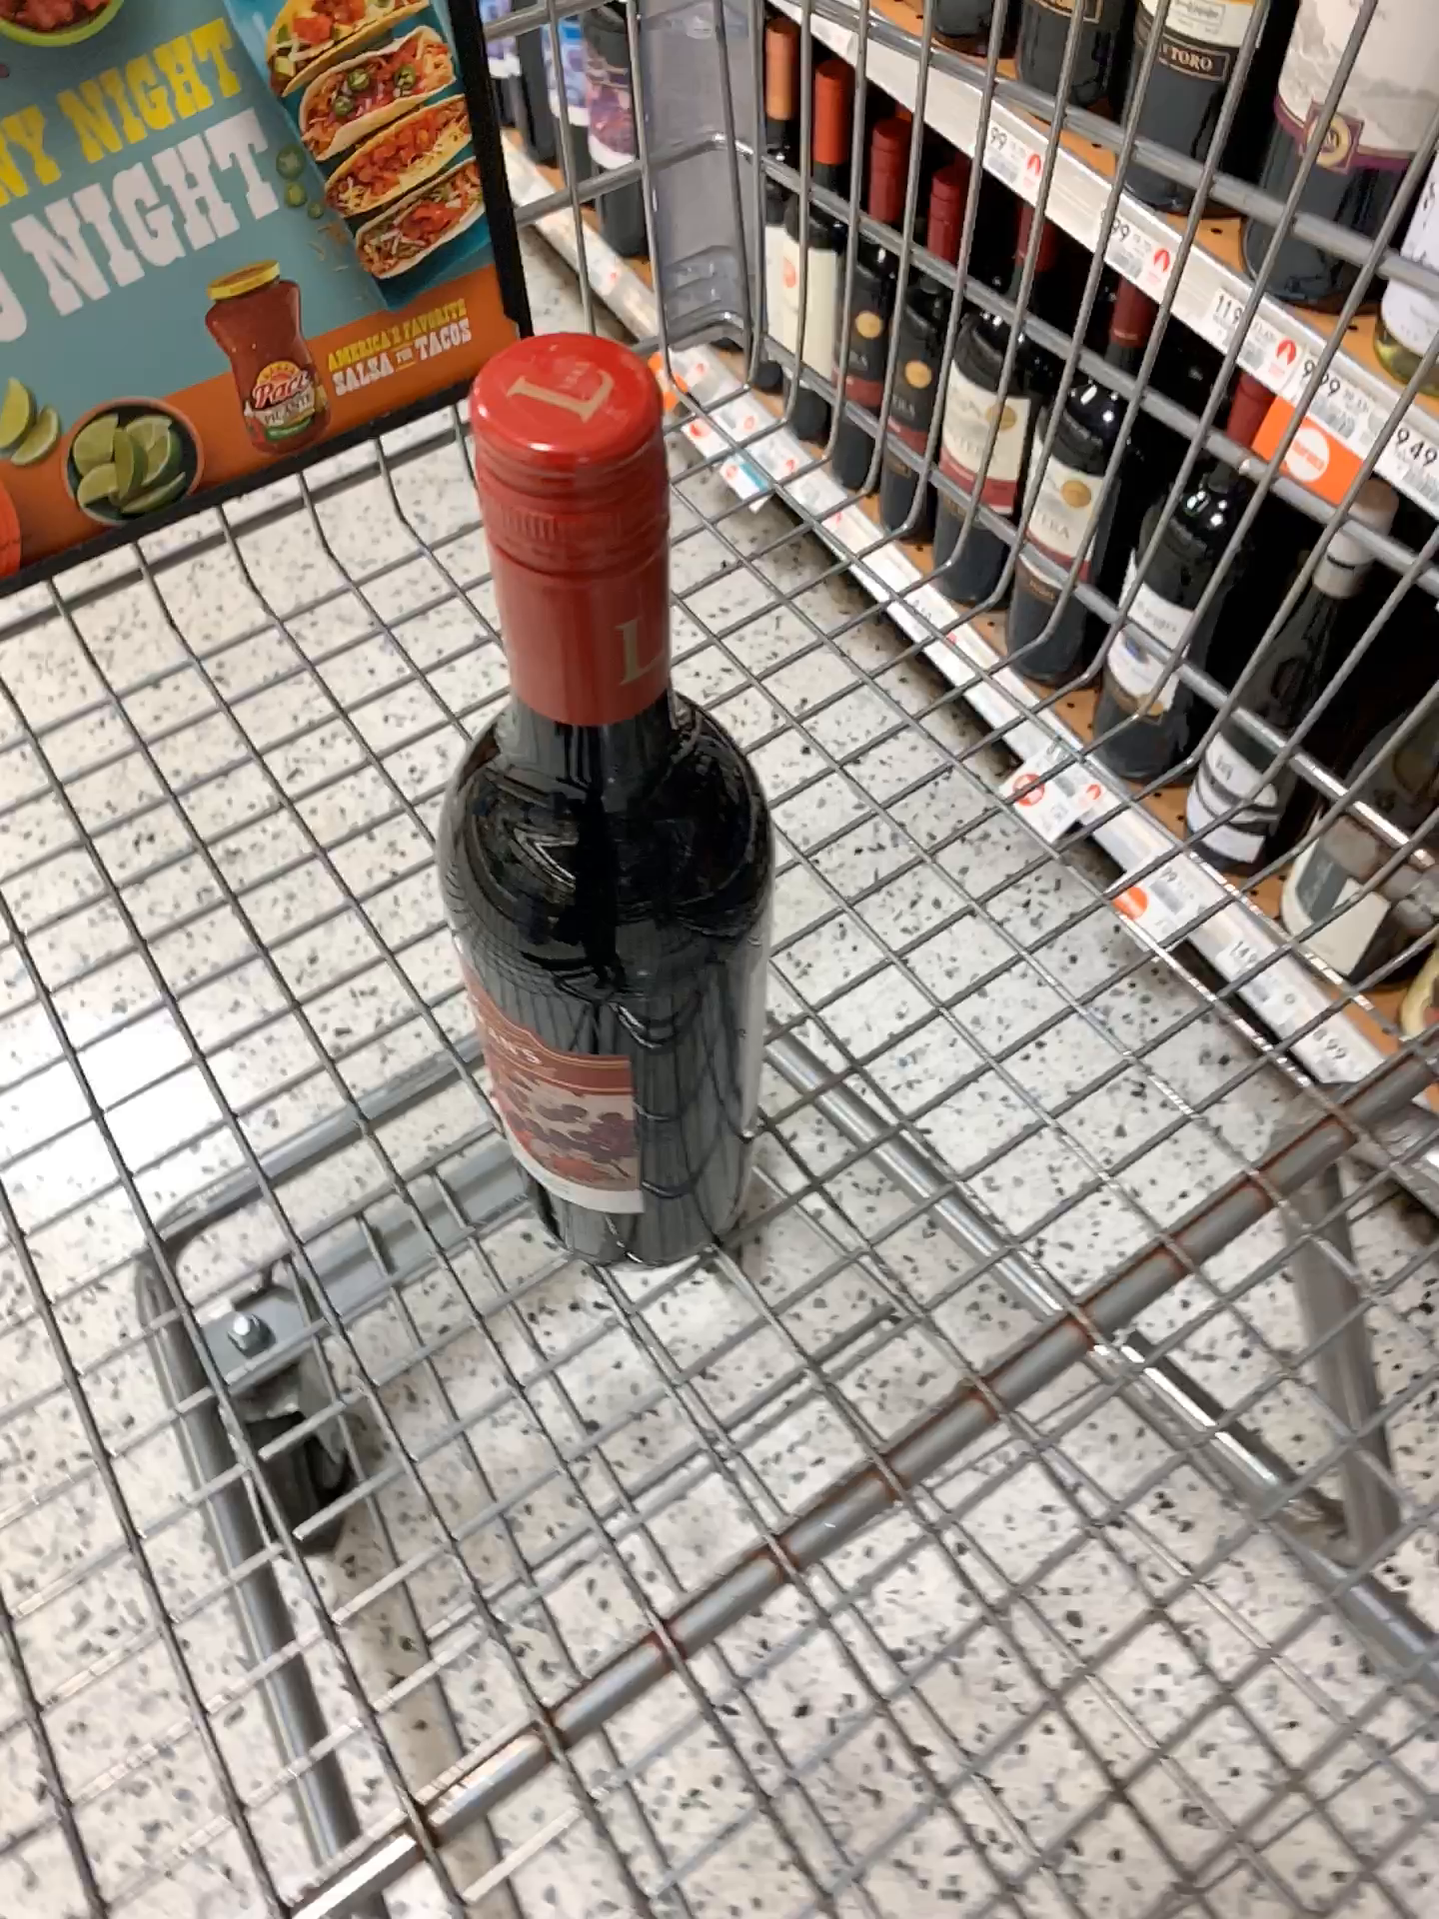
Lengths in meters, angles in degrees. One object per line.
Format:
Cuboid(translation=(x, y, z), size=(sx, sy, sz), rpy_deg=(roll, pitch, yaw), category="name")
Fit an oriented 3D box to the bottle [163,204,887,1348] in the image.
Cuboid(translation=(-0.031, -0.008, 0.351), size=(0.080, 0.288, 0.091), rpy_deg=(-27, 62, -14), category="bottle")
